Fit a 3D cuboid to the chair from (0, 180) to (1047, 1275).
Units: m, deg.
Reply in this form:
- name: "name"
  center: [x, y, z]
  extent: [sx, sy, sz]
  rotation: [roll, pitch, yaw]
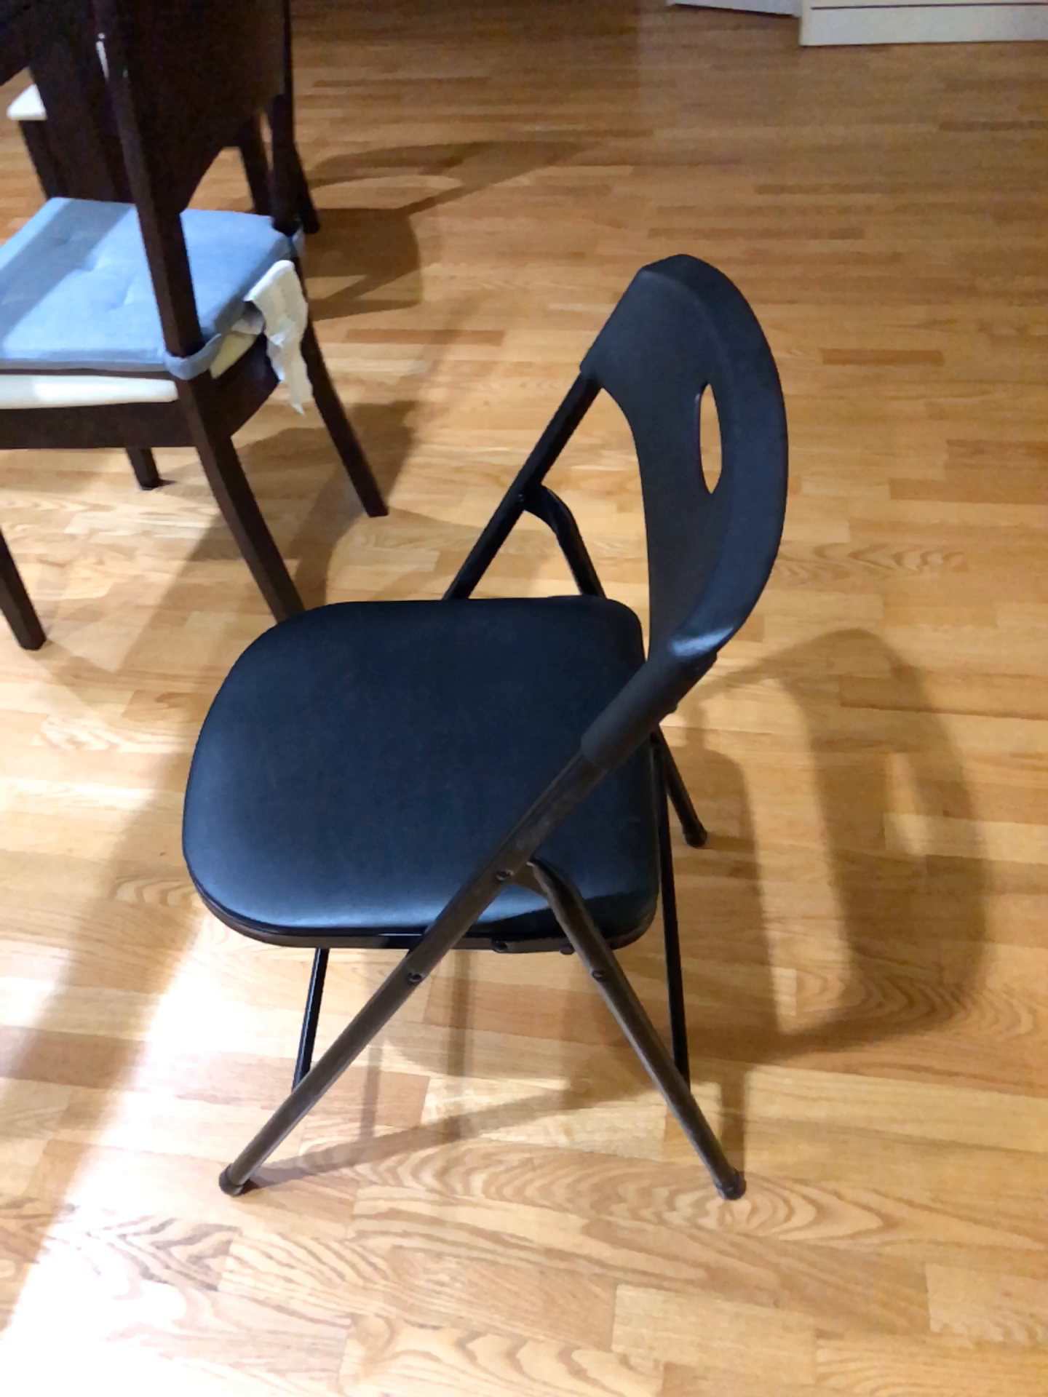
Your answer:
- name: "chair"
  center: [-0.029, 0.047, 0.965]
  extent: [0.680, 0.656, 0.613]
  rotation: [-2, 46, 4]
